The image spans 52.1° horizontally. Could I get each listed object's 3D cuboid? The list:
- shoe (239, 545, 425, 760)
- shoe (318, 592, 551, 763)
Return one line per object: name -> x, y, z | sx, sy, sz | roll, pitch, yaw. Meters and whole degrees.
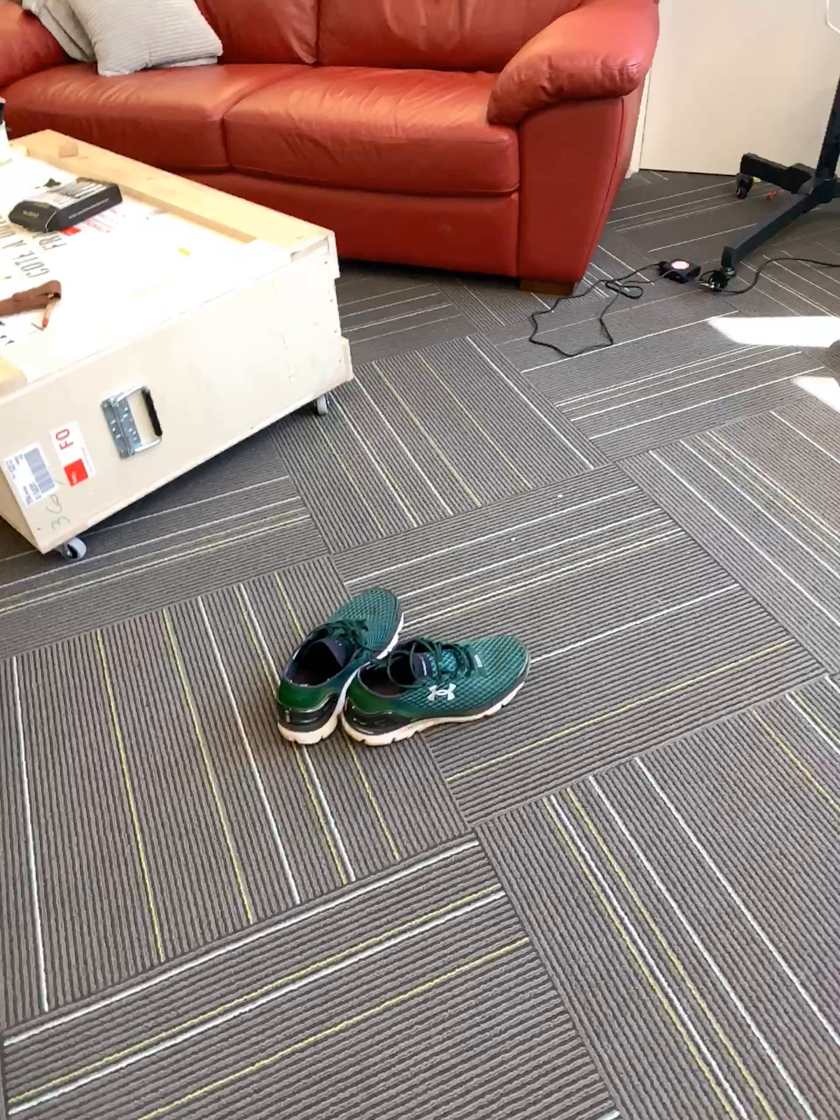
shoe -> -0.121, 0.130, 1.302 | 0.120, 0.109, 0.311 | 18, 48, 23
shoe -> 0.022, 0.170, 1.268 | 0.310, 0.119, 0.121 | -15, 44, -11
